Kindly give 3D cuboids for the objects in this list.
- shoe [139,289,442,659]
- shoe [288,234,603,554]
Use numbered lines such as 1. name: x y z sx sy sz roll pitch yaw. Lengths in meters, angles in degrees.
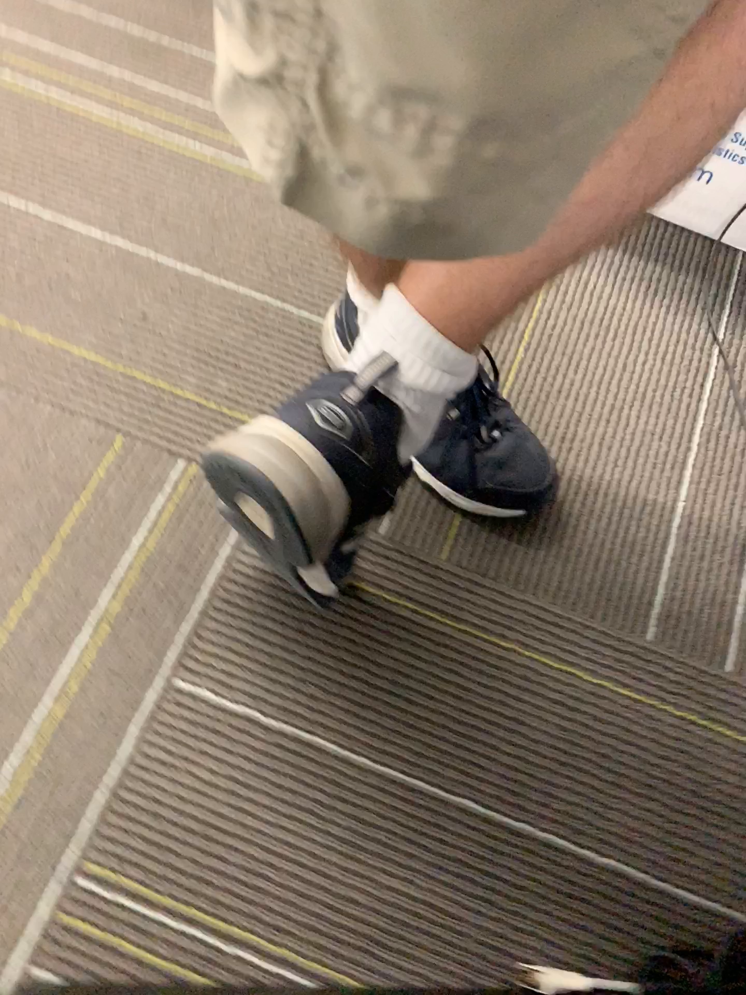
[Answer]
1. shoe: -0.055 0.006 0.583 0.122 0.293 0.129 42 71 13
2. shoe: 0.059 -0.104 0.729 0.120 0.077 0.297 -37 75 -19
